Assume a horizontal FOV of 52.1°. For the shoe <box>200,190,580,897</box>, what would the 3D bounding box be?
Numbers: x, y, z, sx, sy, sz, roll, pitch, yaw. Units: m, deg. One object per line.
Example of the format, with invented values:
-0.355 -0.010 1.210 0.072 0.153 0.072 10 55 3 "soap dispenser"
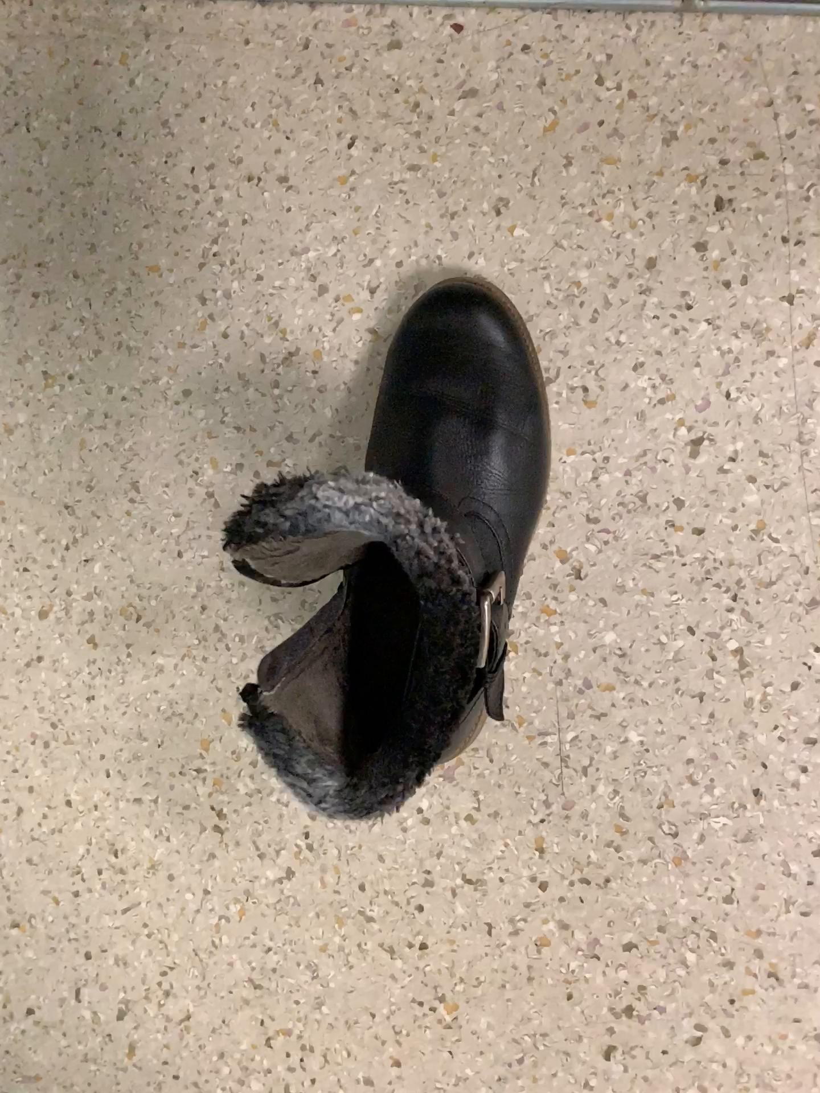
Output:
0.006 -0.005 0.374 0.104 0.169 0.236 6 91 15 "shoe"
